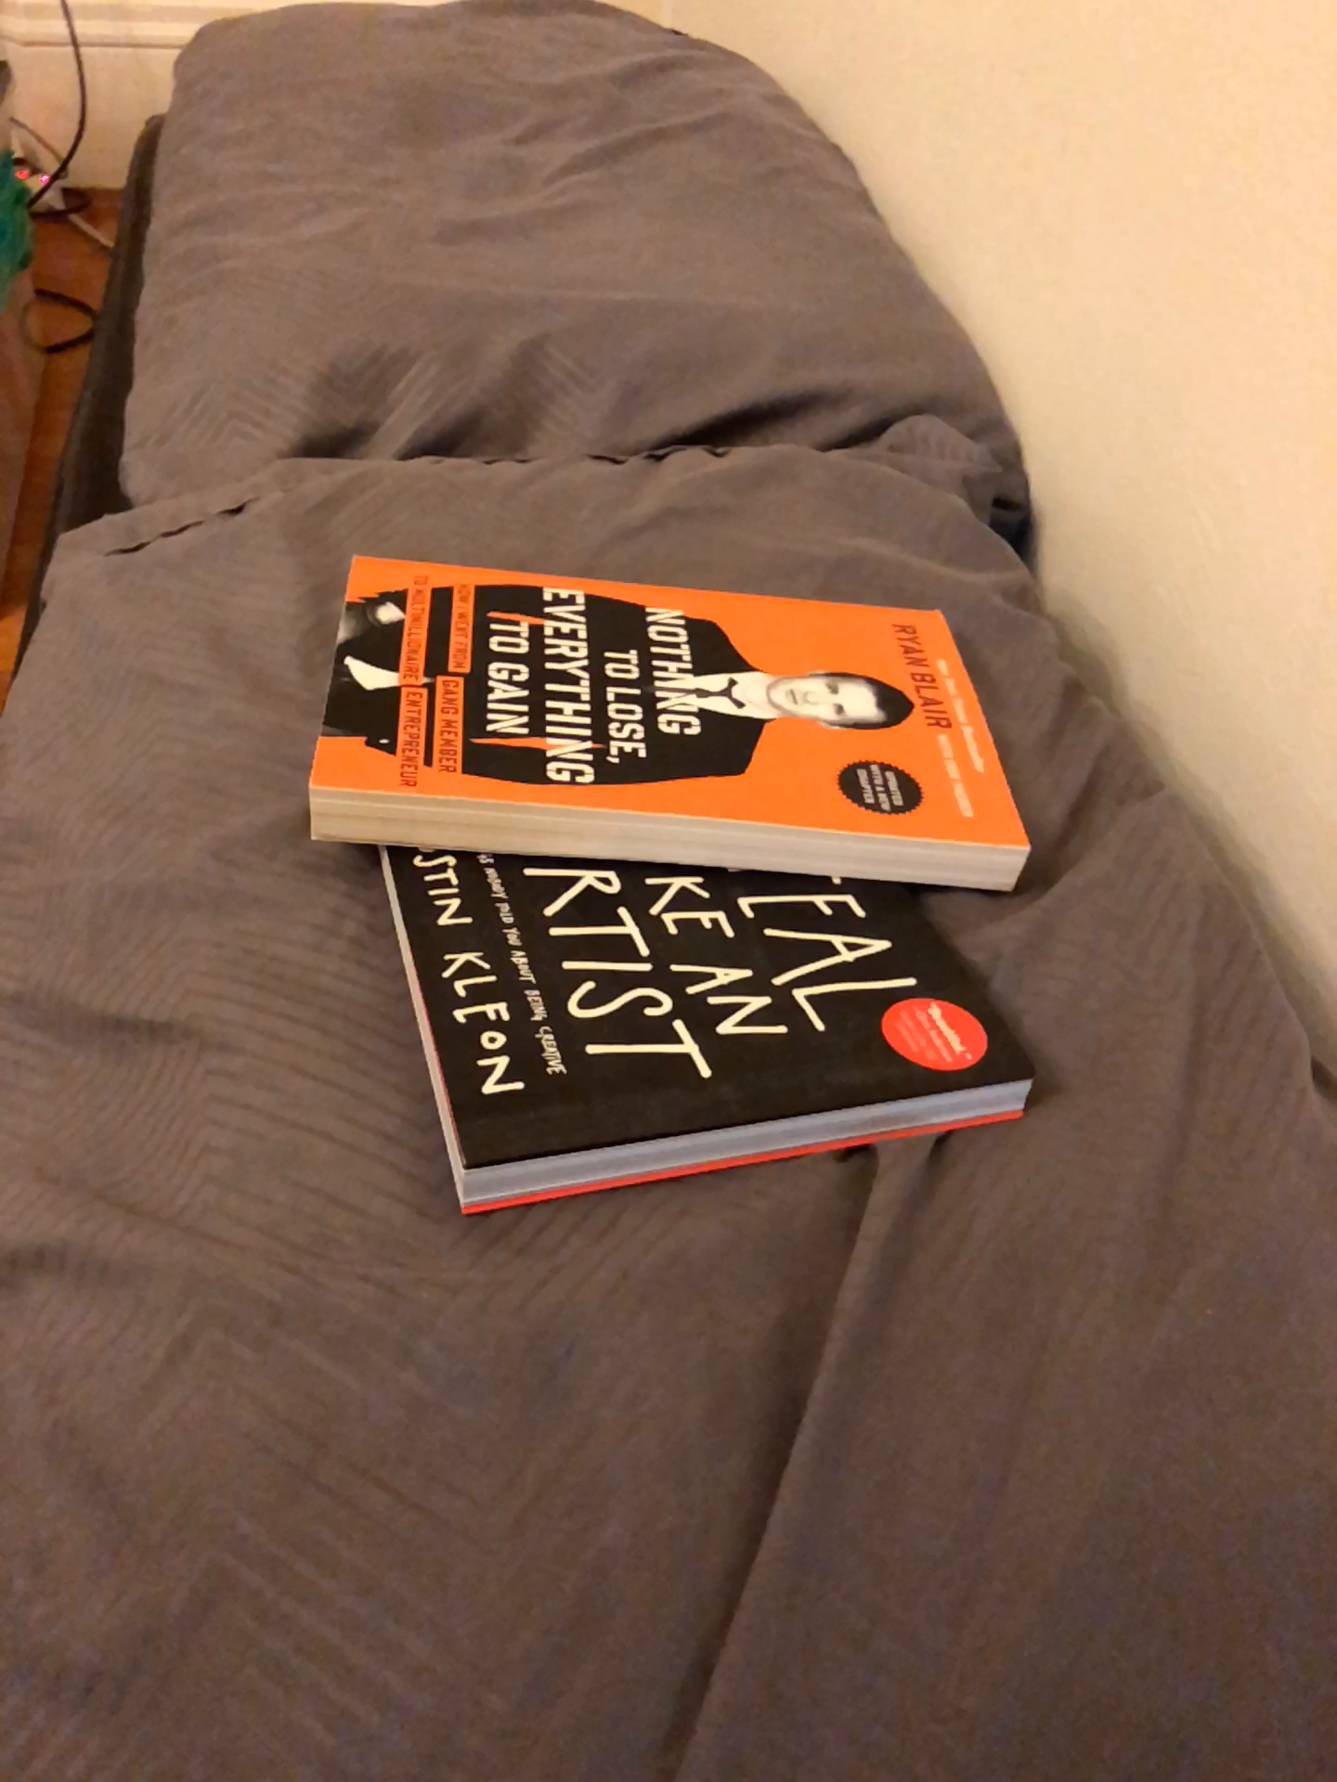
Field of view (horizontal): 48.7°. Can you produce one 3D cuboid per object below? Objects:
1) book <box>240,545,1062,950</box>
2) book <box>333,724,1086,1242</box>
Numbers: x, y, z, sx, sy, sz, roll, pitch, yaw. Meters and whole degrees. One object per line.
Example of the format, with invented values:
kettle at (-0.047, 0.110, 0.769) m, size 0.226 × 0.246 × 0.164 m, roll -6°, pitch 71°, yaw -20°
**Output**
book at (-0.009, -0.052, 0.478) m, size 0.230 × 0.020 × 0.171 m, roll 1°, pitch 44°, yaw -8°
book at (0.004, 0.013, 0.414) m, size 0.170 × 0.020 × 0.151 m, roll -7°, pitch 45°, yaw -18°
